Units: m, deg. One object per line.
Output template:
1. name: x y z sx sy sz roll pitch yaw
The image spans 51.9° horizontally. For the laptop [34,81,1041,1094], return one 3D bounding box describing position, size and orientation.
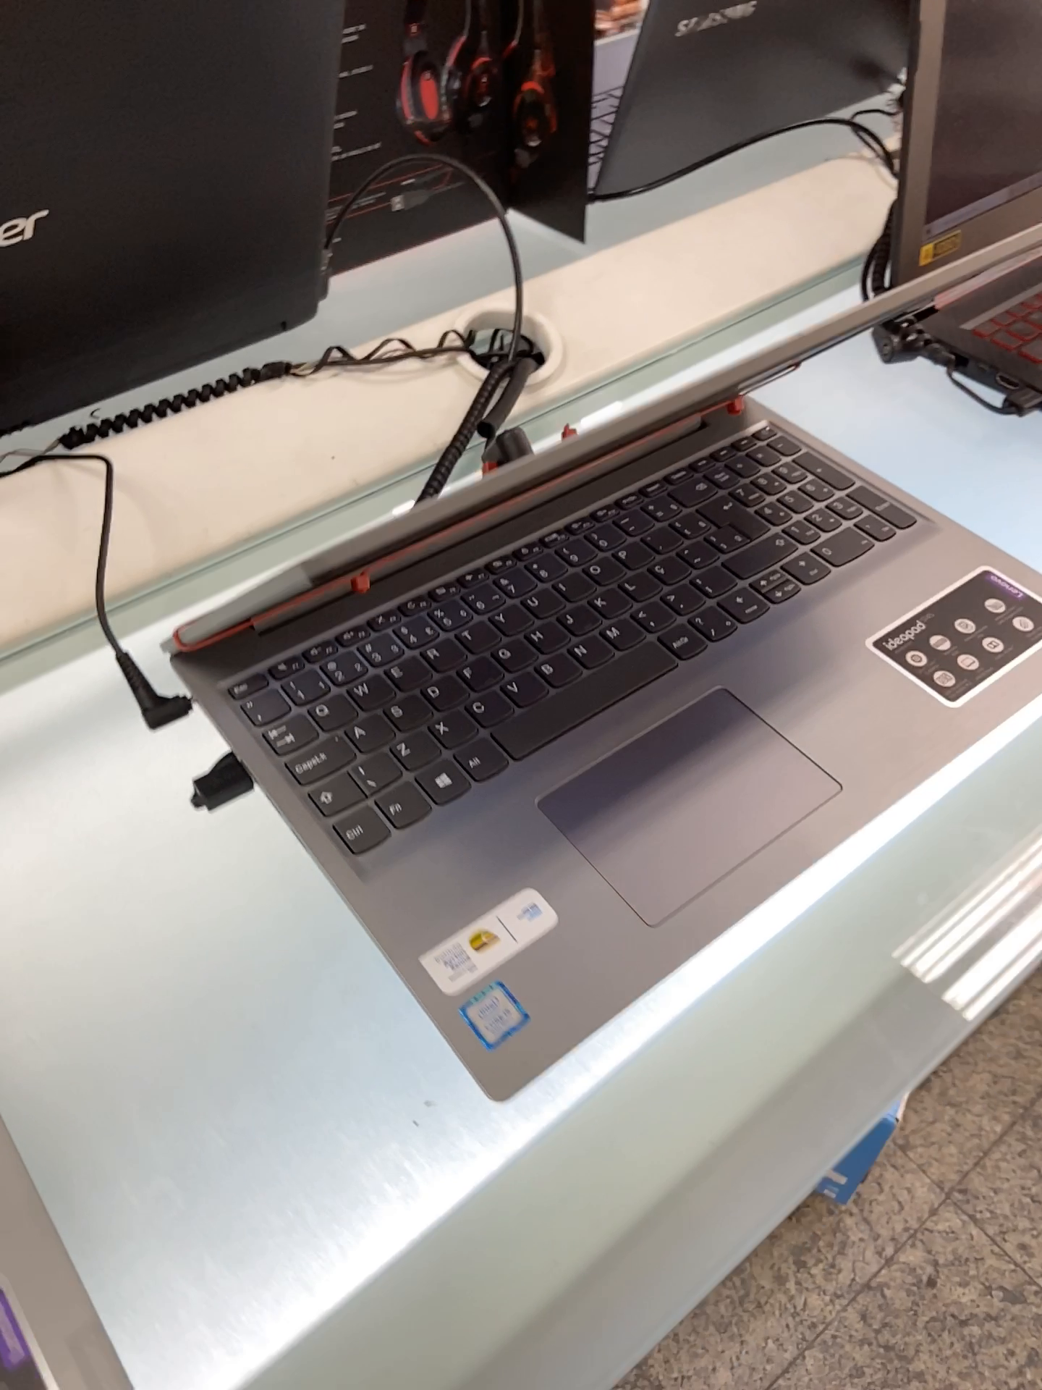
1. laptop: 0.057 -0.082 0.427 0.362 0.167 0.247 -29 54 -25
